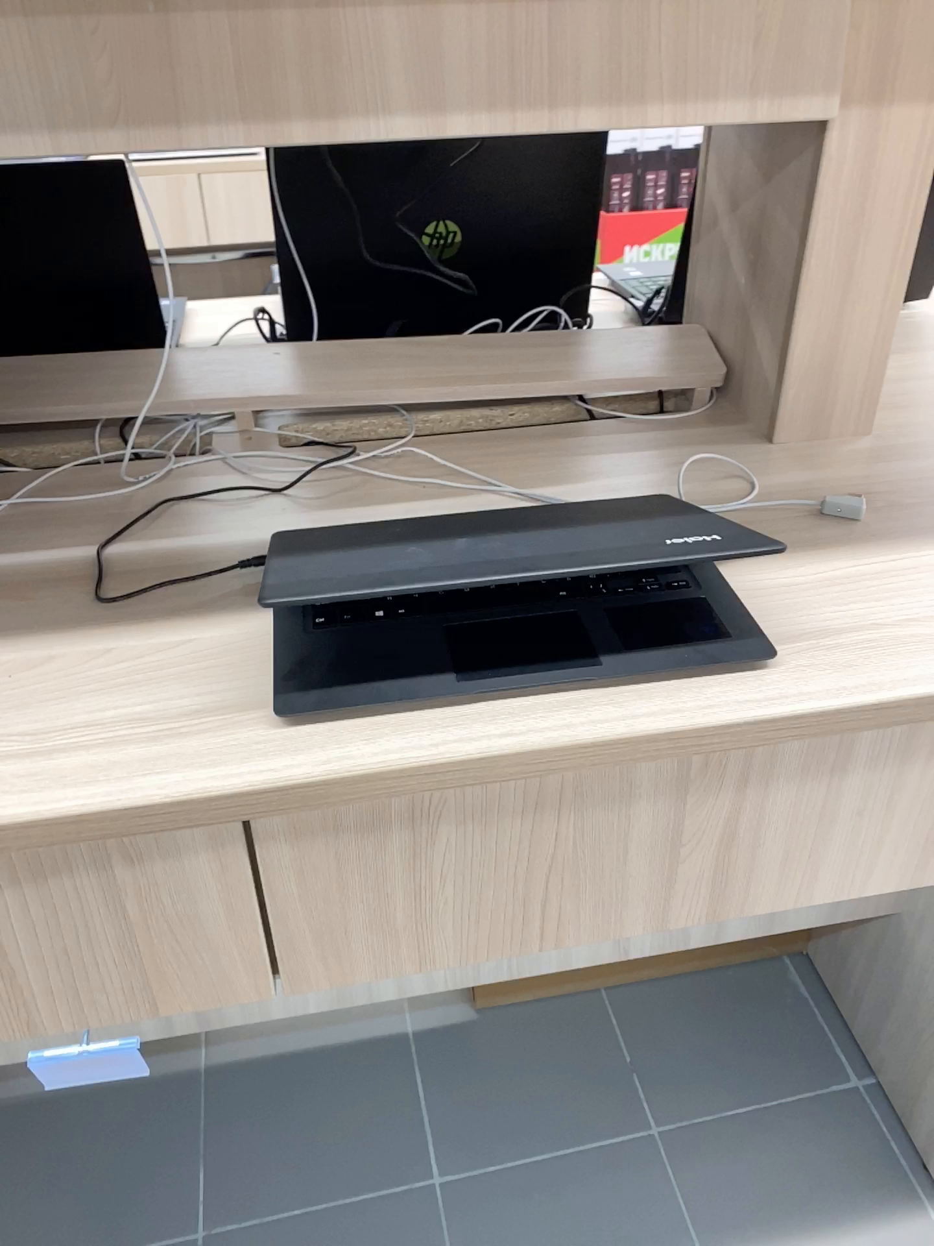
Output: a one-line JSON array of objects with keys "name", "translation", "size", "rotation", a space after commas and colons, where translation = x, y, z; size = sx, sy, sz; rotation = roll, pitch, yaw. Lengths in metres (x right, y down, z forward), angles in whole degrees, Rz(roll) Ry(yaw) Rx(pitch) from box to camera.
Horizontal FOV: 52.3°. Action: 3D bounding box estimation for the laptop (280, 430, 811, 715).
[{"name": "laptop", "translation": [0.036, -0.047, 0.659], "size": [0.319, 0.071, 0.202], "rotation": [-6, 35, -8]}]
